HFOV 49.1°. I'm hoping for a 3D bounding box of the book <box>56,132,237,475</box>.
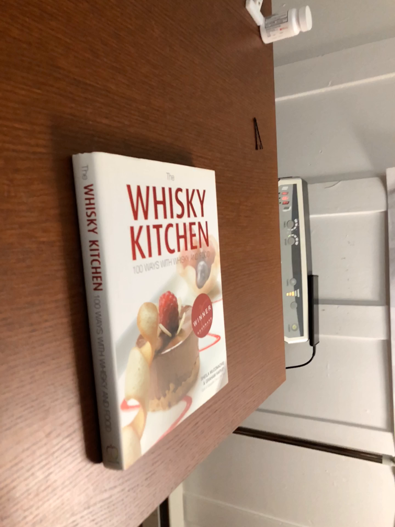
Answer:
[{"bbox_3d":[-0.031,0.023,0.440,0.221,0.040,0.270,-14,101,-60],"label":"book"}]
